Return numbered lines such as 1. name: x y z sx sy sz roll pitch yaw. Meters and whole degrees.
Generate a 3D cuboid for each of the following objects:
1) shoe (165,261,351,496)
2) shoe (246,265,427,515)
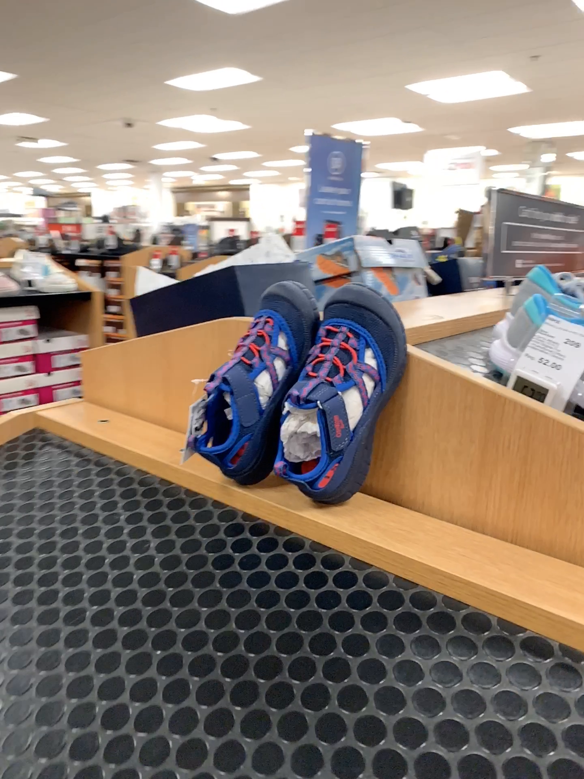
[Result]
1. shoe: -0.029 -0.009 0.553 0.080 0.190 0.100 13 -3 40
2. shoe: 0.039 0.001 0.507 0.080 0.190 0.080 12 -4 38
